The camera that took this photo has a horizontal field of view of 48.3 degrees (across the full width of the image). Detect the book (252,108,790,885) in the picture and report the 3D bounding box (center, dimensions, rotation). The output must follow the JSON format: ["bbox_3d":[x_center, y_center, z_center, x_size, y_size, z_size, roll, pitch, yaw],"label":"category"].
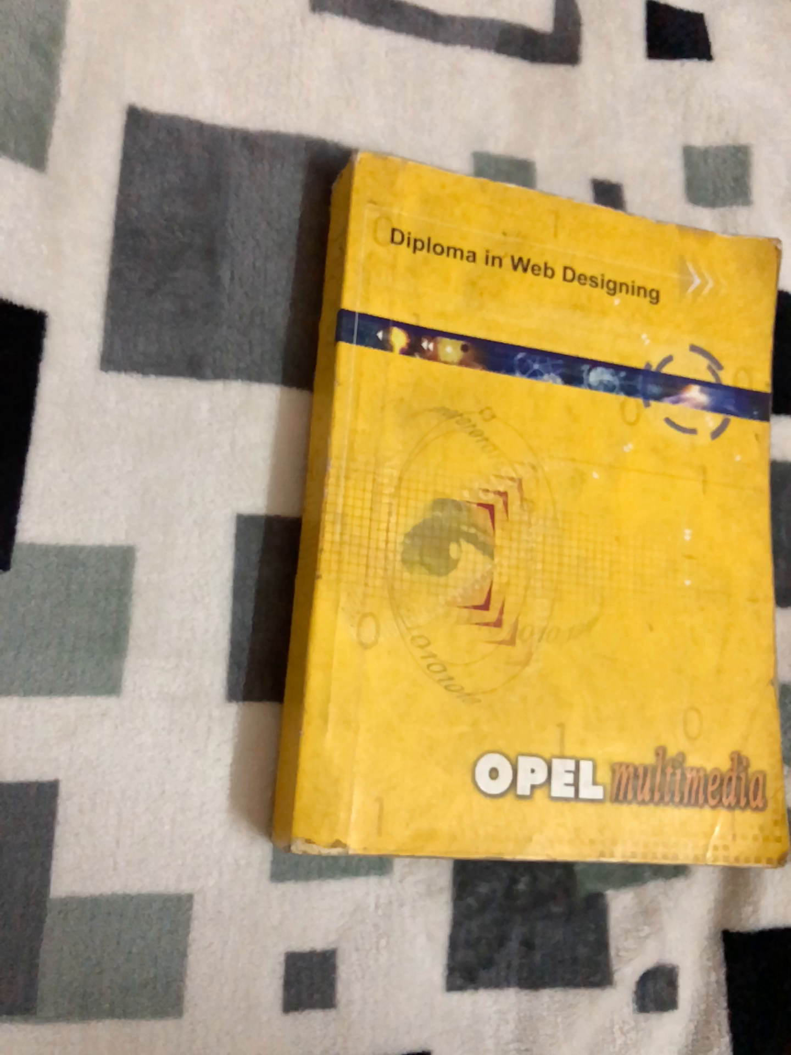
[{"bbox_3d":[0.065,-0.011,0.406,0.220,0.070,0.310,7,76,-13],"label":"book"}]
